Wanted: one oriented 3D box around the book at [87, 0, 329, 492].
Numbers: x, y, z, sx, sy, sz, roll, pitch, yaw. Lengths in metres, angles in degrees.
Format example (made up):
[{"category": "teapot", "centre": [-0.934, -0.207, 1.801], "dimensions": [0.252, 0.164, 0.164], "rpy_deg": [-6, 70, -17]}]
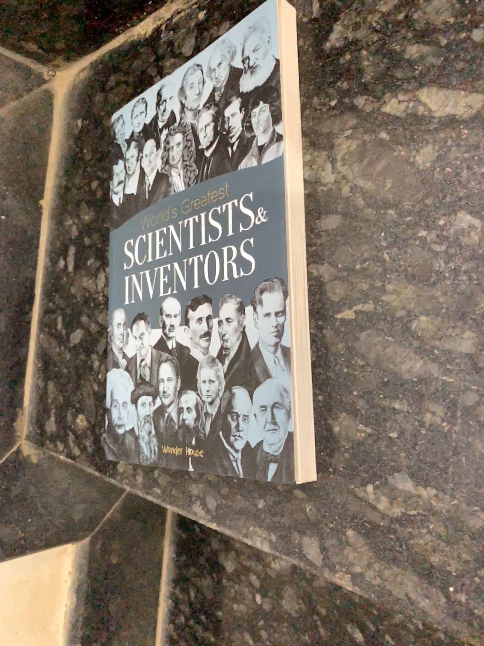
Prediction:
[{"category": "book", "centre": [-0.027, -0.031, 0.247], "dimensions": [0.141, 0.020, 0.200], "rpy_deg": [-9, 78, 42]}]
